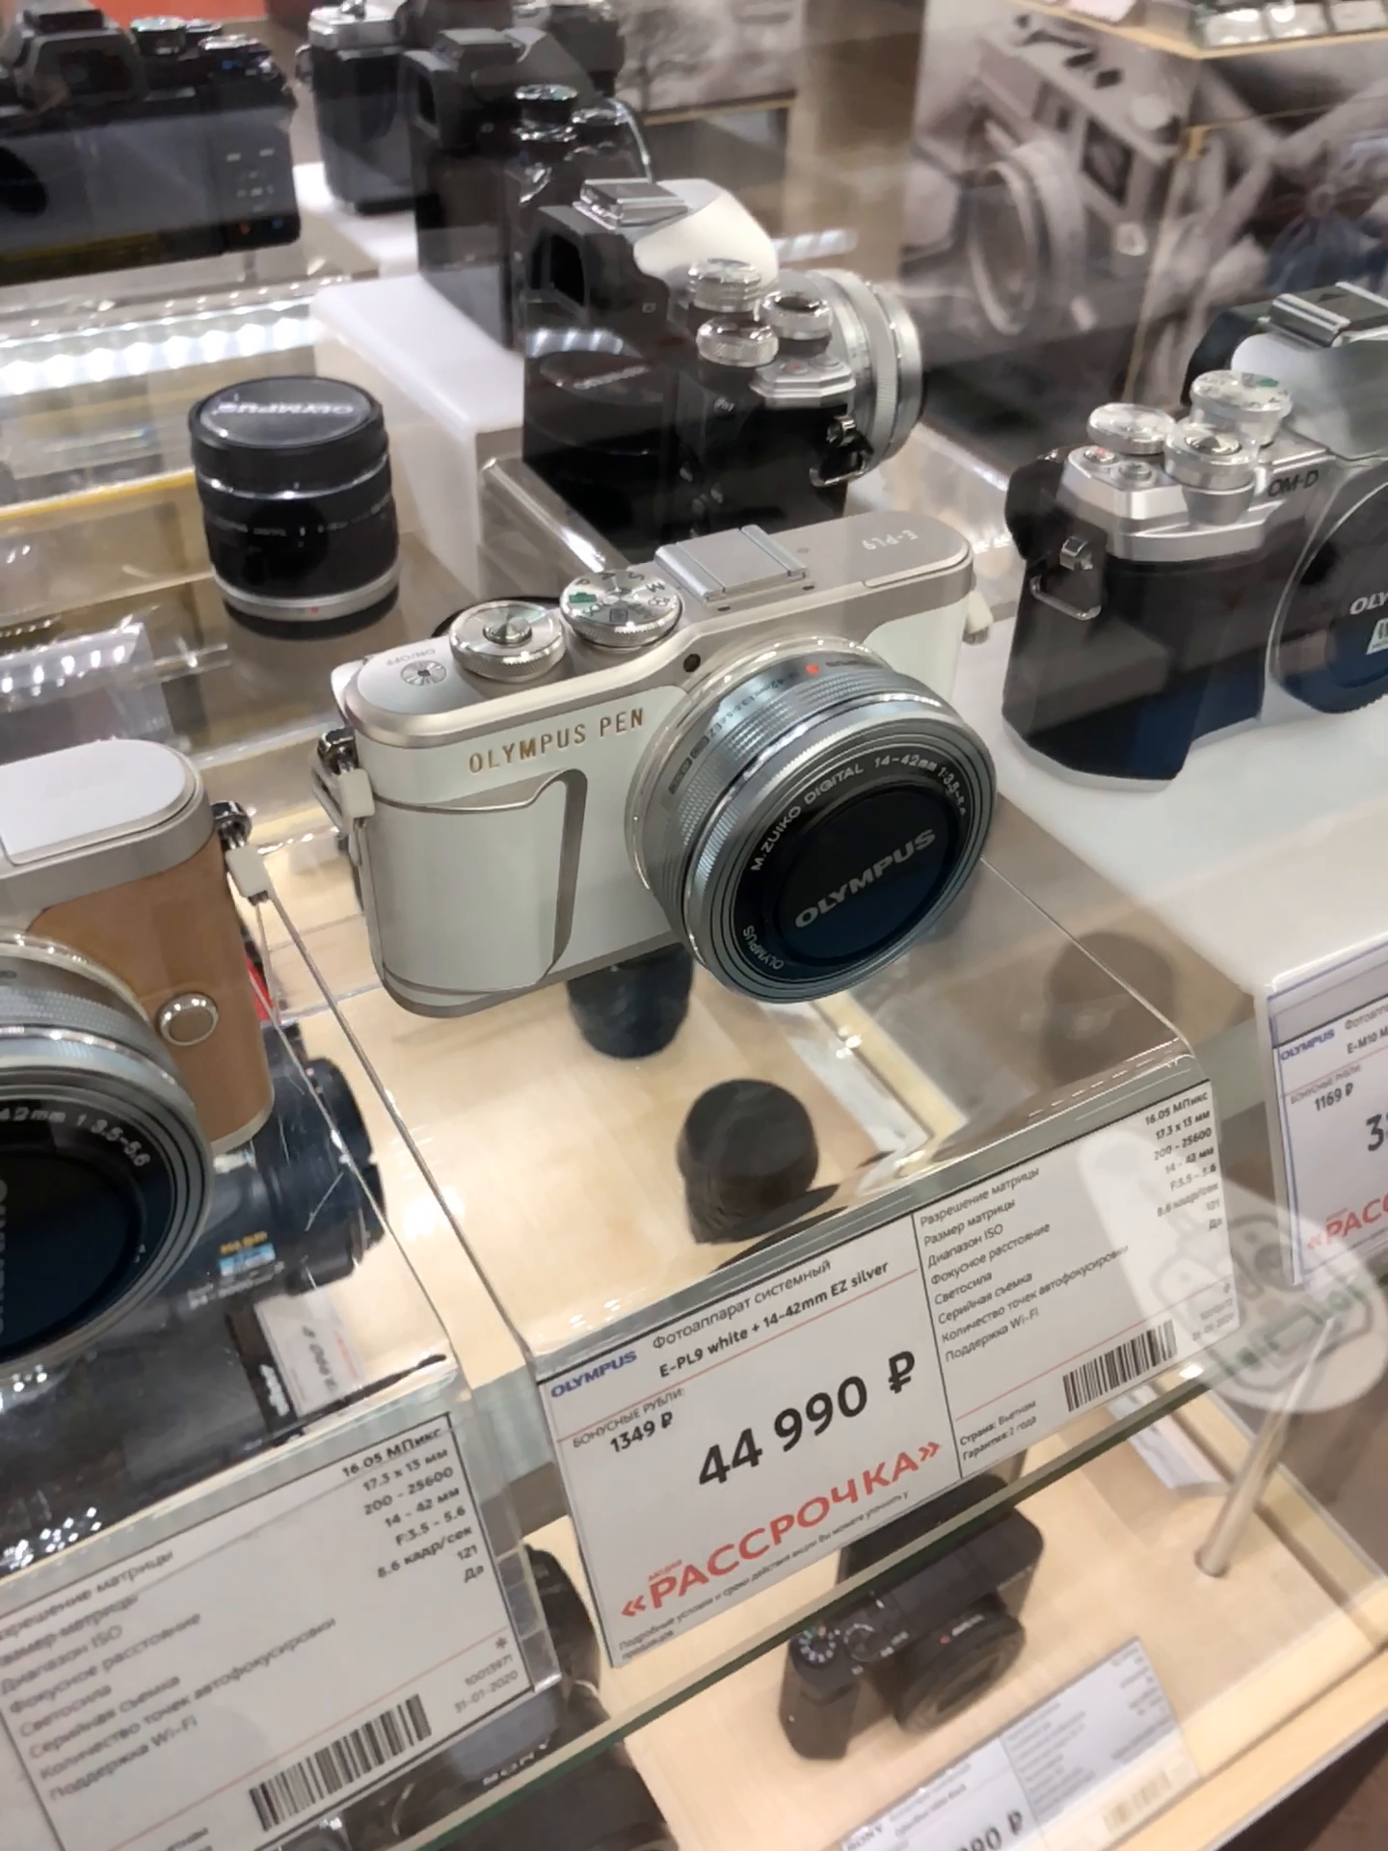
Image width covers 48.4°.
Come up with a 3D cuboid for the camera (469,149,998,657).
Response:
[{"bbox_3d":[0.004,-0.132,0.377,0.072,0.072,0.114,-20,46,-24],"label":"camera"}]

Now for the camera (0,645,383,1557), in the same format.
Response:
[{"bbox_3d":[-0.098,0.019,0.206,0.088,0.072,0.061,-22,46,-25],"label":"camera"}]

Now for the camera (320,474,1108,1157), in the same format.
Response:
[{"bbox_3d":[0.004,-0.023,0.266,0.115,0.070,0.053,-21,46,-25],"label":"camera"}]

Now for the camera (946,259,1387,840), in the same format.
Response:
[{"bbox_3d":[0.115,-0.077,0.302,0.114,0.072,0.053,-21,46,-25],"label":"camera"}]
